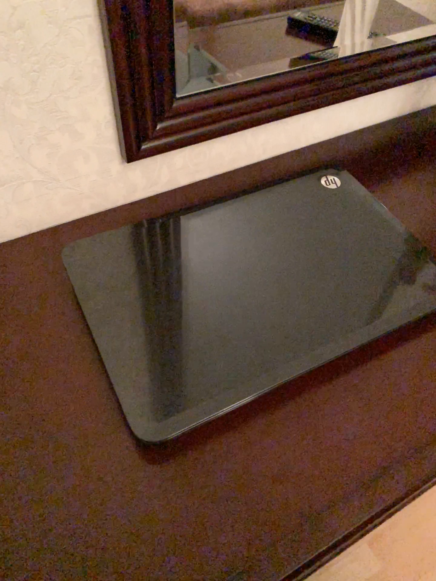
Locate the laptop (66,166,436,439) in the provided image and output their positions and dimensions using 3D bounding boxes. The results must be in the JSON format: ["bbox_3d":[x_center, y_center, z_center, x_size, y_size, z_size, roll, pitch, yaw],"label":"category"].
[{"bbox_3d":[0.046,-0.023,0.459,0.345,0.003,0.222,-21,56,-19],"label":"laptop"}]
